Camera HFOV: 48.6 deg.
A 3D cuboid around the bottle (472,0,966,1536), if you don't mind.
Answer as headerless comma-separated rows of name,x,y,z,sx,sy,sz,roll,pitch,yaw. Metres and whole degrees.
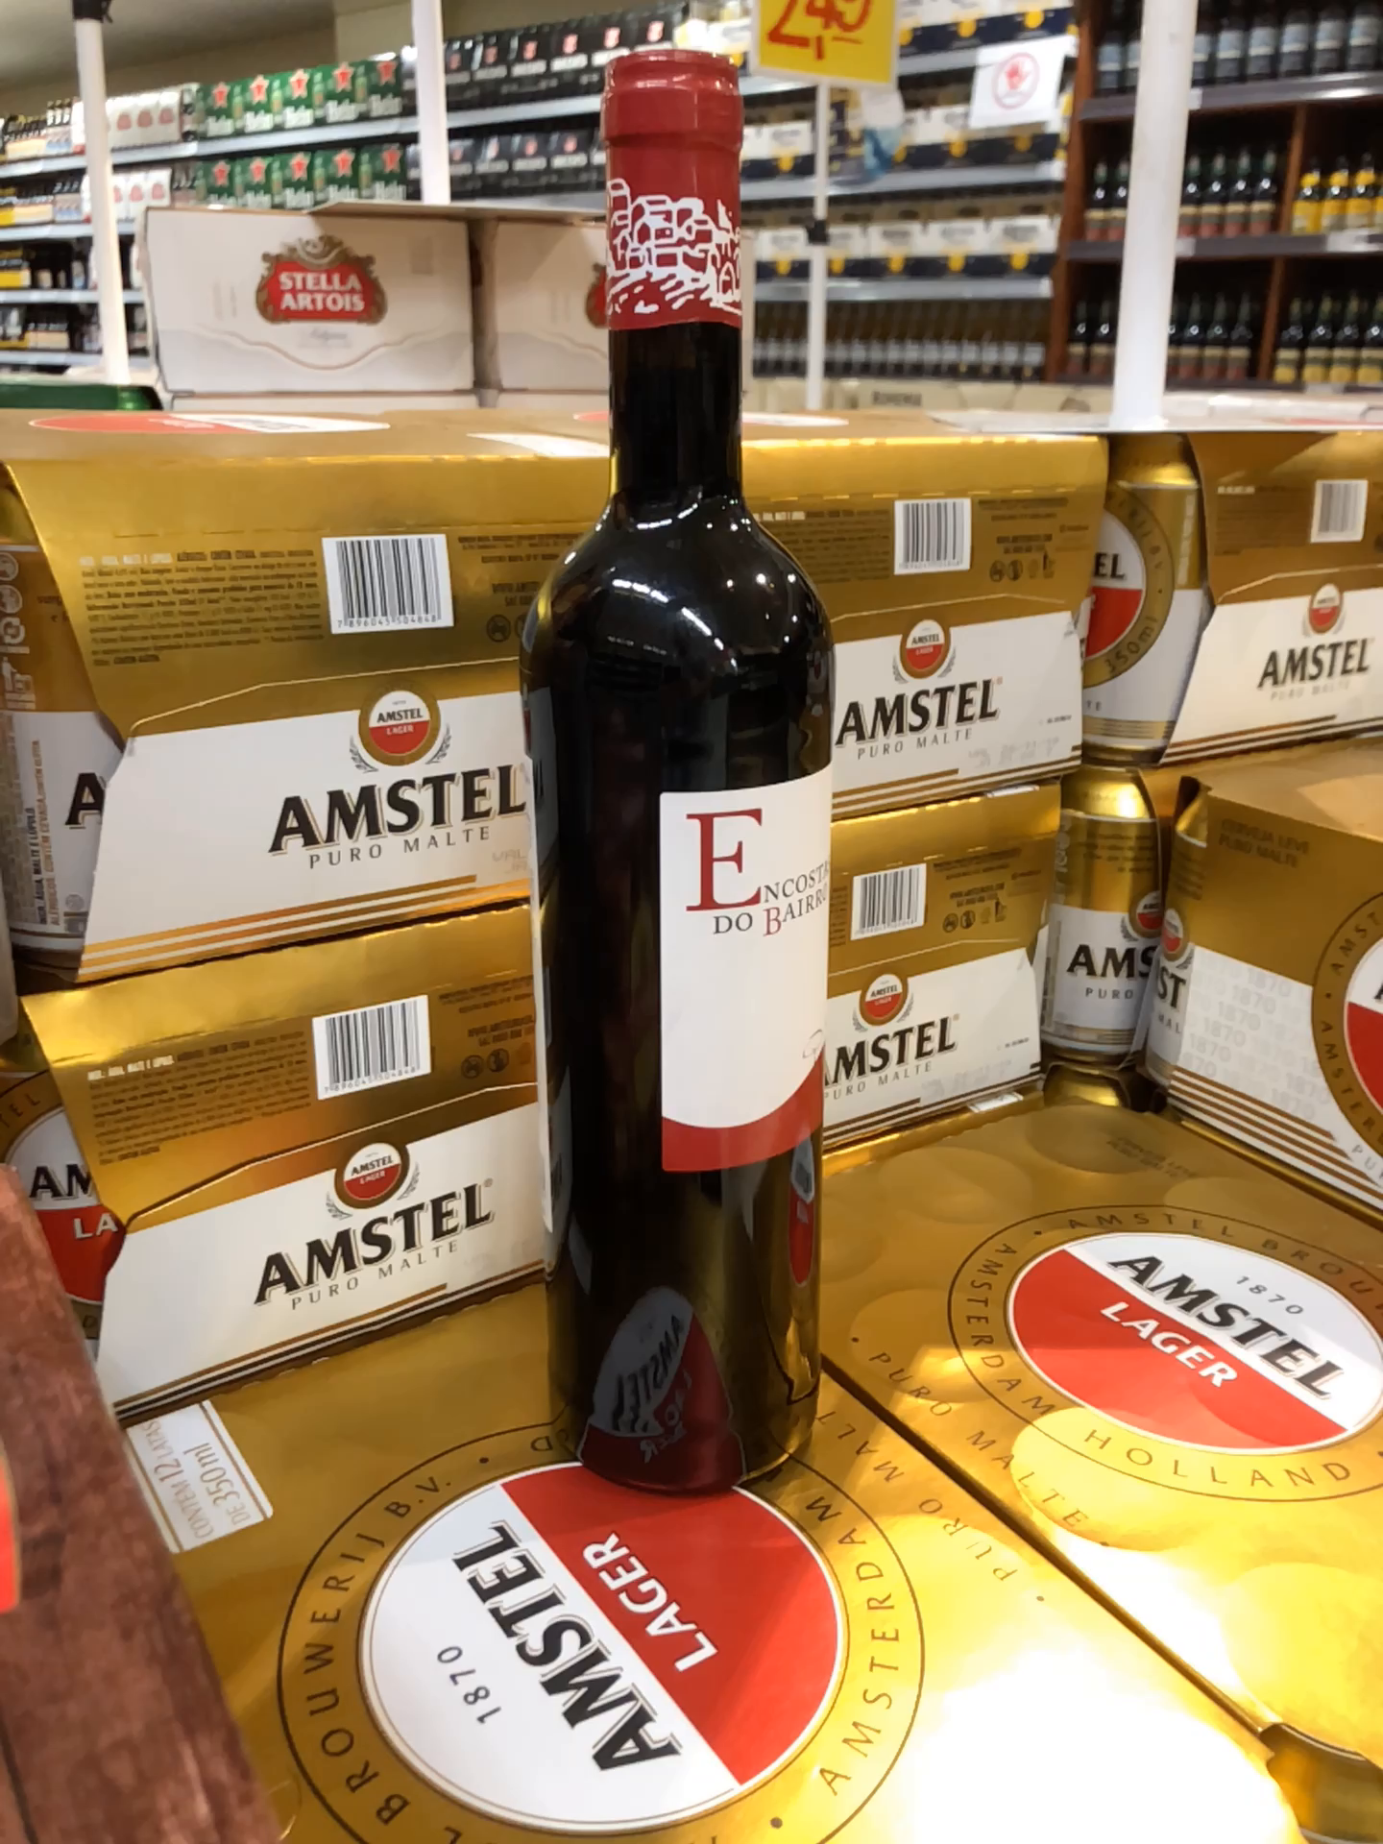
bottle,0.001,-0.023,0.356,0.070,0.318,0.070,2,19,-1
